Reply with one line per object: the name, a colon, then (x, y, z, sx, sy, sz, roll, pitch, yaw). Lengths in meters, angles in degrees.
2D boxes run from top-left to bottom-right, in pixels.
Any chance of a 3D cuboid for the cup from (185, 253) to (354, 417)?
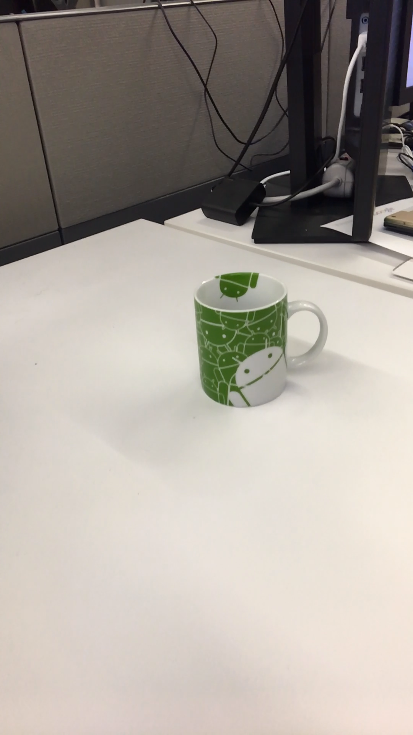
cup: (0.052, -0.032, 0.528, 0.110, 0.090, 0.090, -14, 33, -17)
